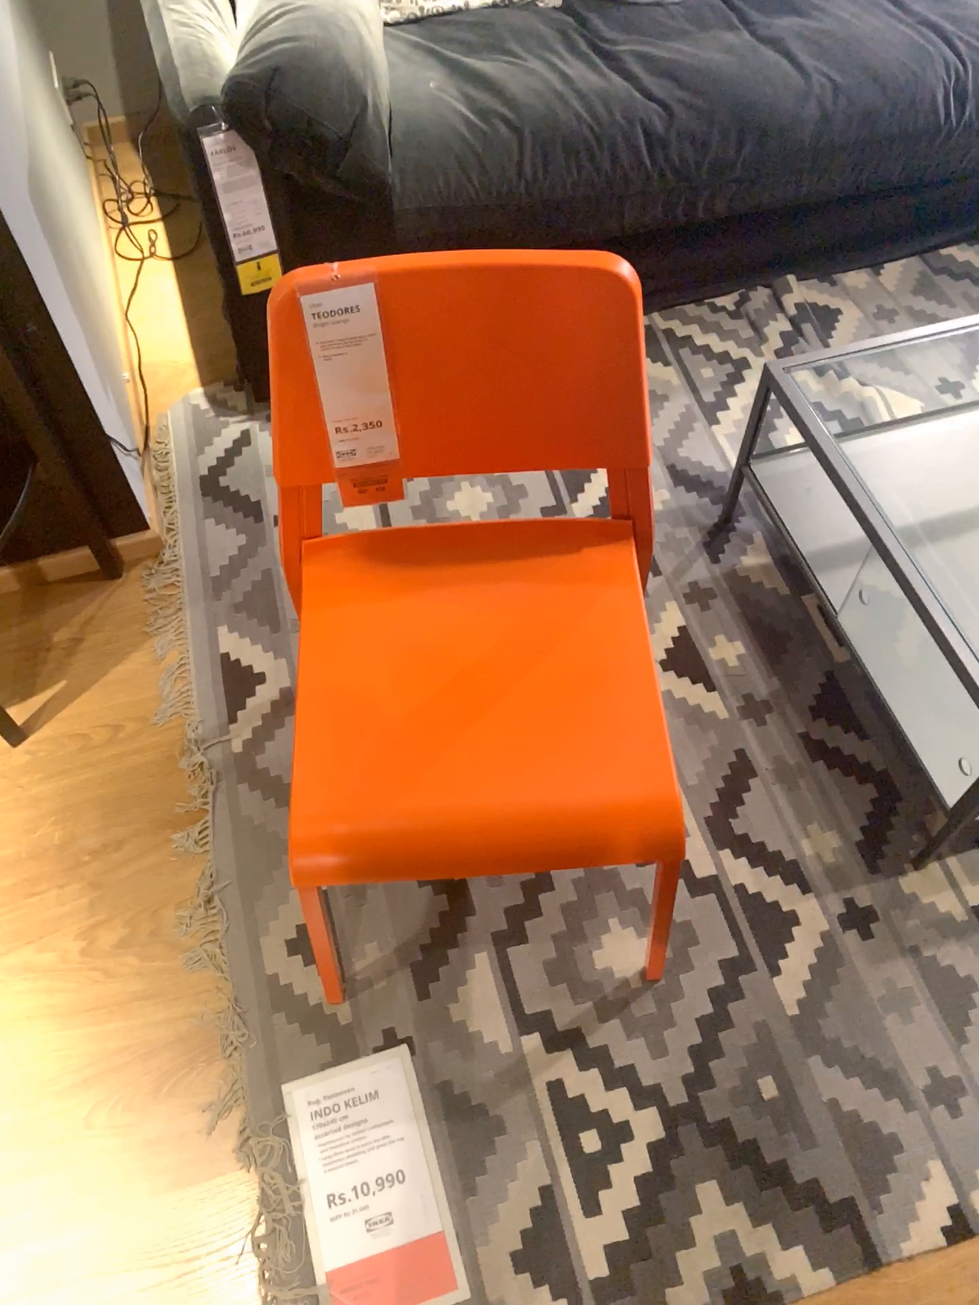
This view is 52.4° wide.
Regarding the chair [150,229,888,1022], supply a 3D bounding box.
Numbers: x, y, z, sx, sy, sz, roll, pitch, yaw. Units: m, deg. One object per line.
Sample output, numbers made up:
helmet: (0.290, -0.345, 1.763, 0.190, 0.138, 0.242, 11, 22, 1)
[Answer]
chair: (0.006, 0.025, 1.162, 0.520, 0.728, 0.582, -4, 57, -2)
